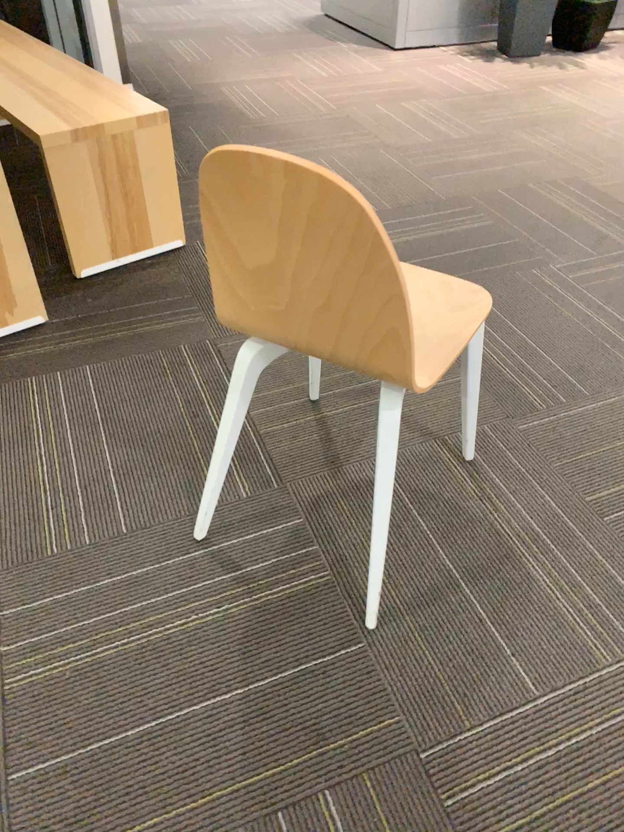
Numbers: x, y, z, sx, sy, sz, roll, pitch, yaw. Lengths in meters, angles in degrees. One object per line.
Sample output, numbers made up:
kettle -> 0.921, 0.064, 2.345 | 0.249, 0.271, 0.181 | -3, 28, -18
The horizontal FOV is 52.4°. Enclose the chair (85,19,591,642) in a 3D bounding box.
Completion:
chair -> 0.068, -0.148, 1.125 | 0.461, 0.825, 0.572 | 22, 46, 21
